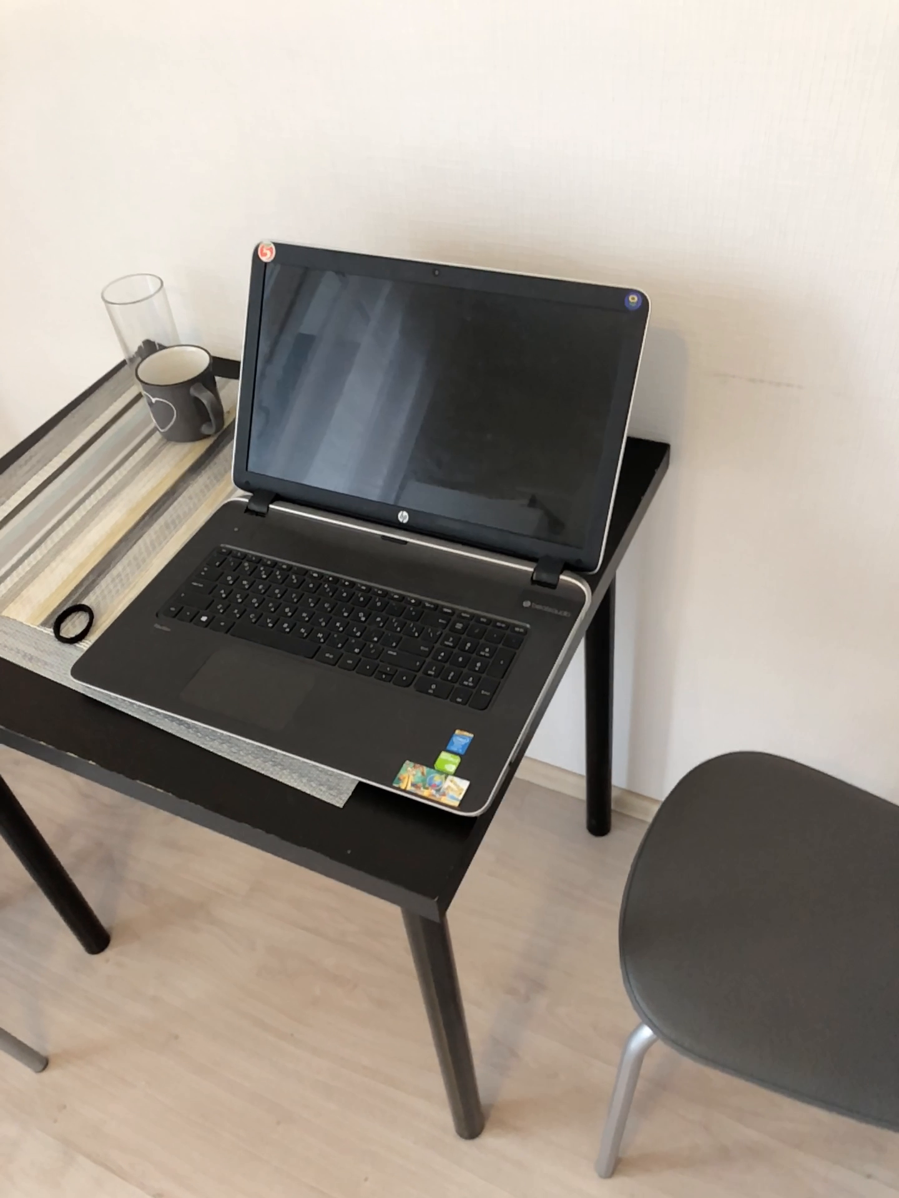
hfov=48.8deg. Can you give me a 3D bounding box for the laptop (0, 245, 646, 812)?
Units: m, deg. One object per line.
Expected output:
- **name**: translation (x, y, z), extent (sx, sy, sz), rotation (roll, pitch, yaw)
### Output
- **laptop**: translation (-0.091, -0.101, 0.902), extent (0.416, 0.227, 0.414), rotation (15, 48, 22)
